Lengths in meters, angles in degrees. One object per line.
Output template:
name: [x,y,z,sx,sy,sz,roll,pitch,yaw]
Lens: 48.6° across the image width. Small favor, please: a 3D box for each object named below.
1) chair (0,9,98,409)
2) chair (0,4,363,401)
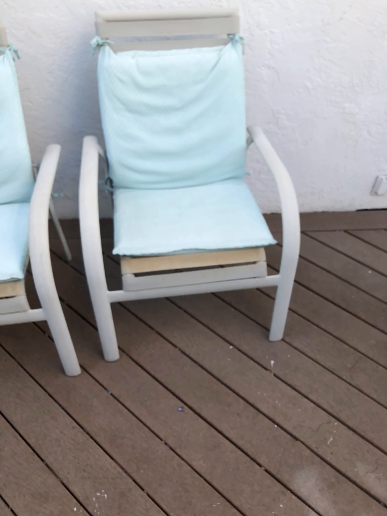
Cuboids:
chair: [-0.746,-0.142,1.390,0.700,0.965,0.784,-5,46,-6]
chair: [-0.078,-0.175,1.737,0.840,1.273,0.875,-5,46,-6]
